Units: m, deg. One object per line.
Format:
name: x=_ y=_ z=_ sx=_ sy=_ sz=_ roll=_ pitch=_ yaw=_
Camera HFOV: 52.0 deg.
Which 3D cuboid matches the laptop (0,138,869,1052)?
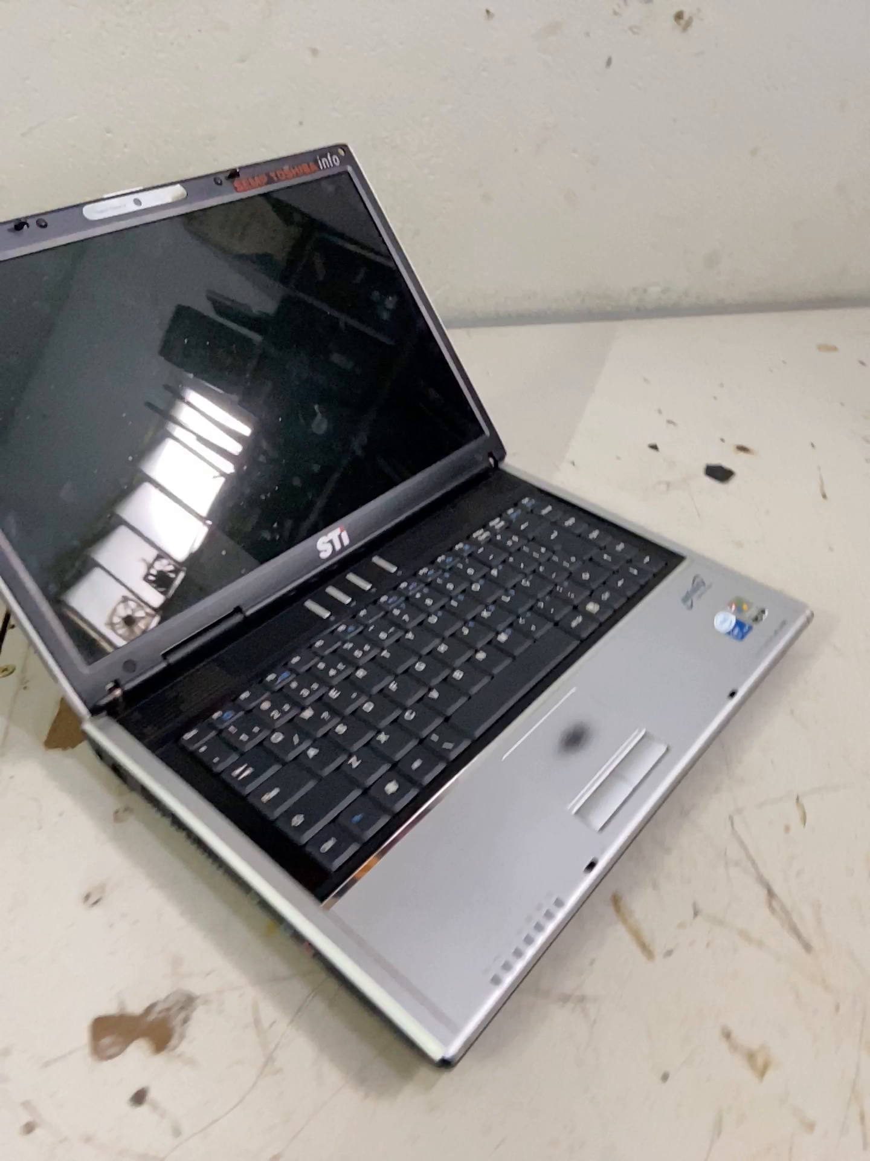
laptop: x=-0.033 y=-0.061 z=0.451 sx=0.386 sy=0.167 sz=0.326 roll=32 pitch=47 yaw=28
